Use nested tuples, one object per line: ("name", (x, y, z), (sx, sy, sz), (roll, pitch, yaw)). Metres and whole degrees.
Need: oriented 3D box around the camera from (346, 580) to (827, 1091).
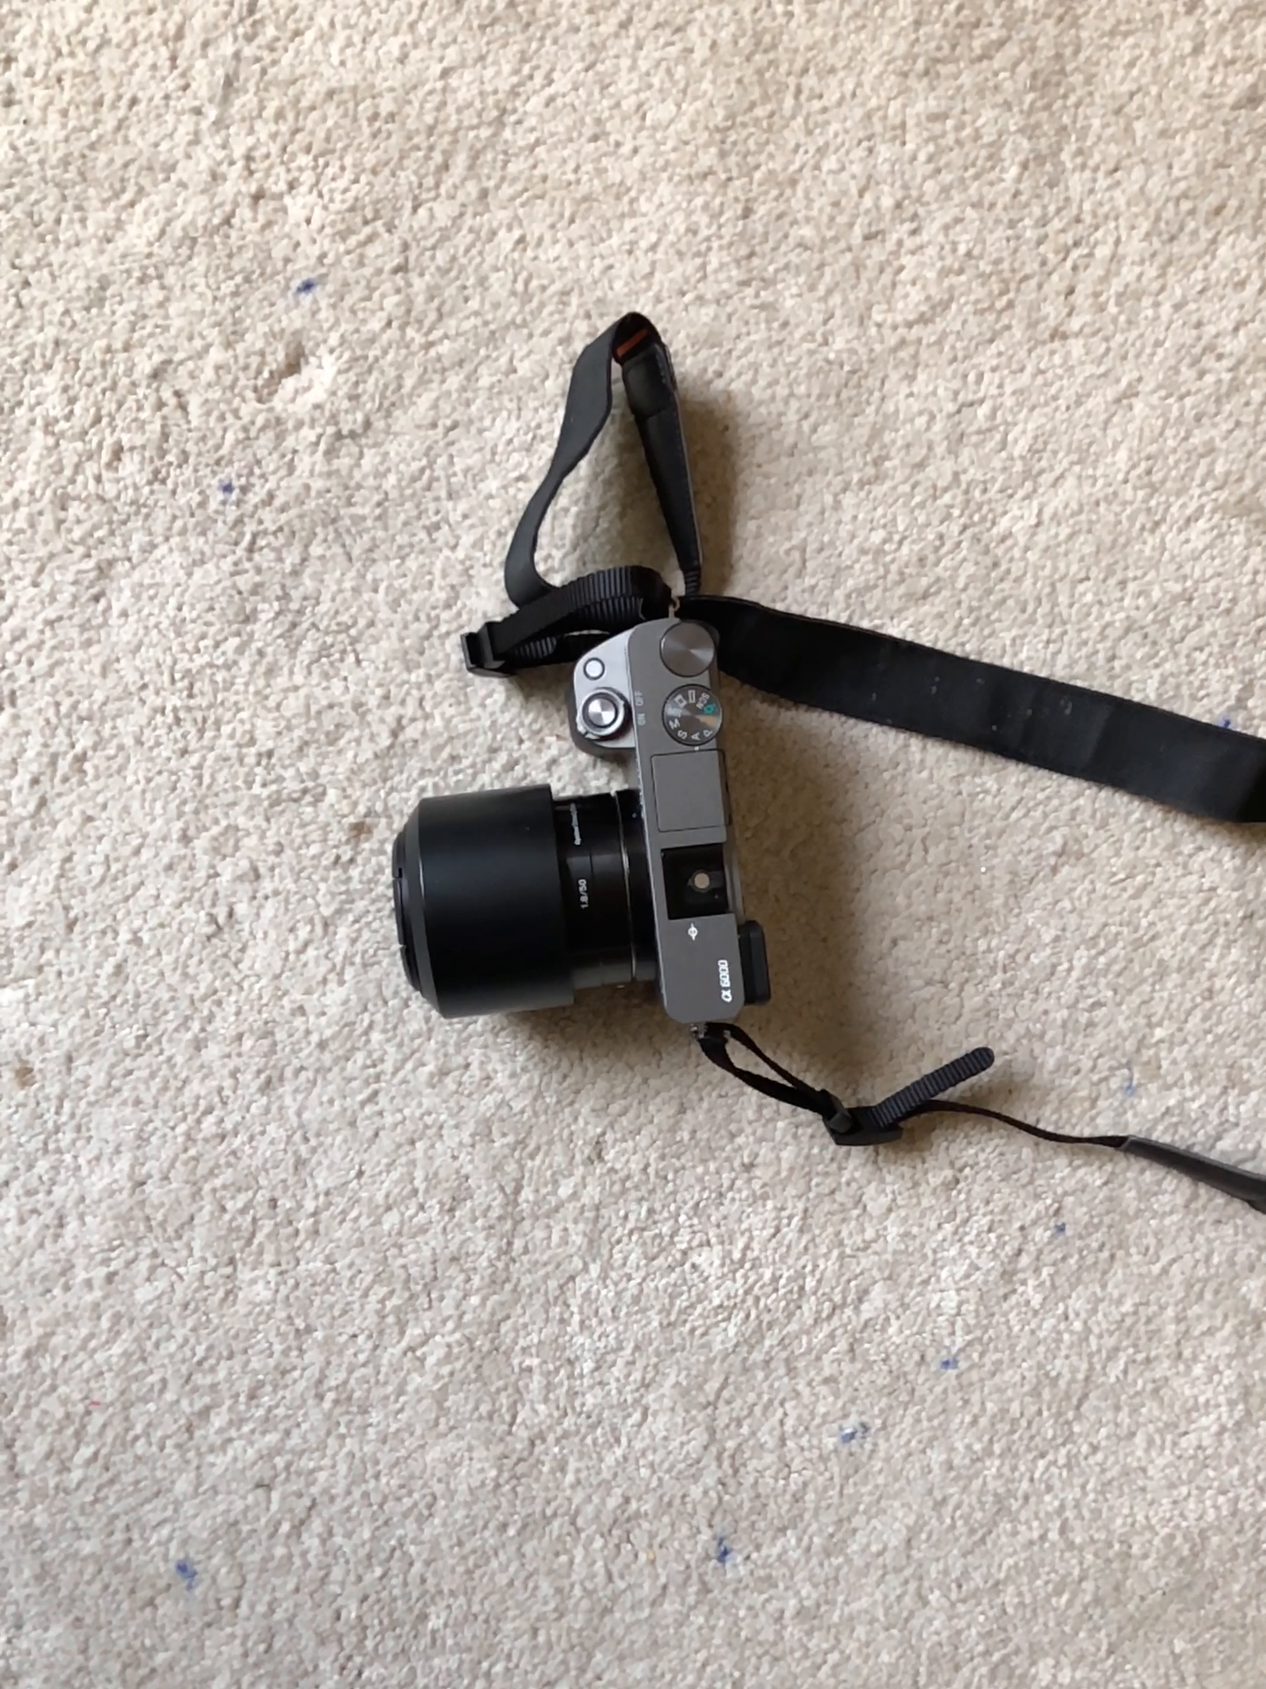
("camera", (-0.016, -0.002, 0.430), (0.120, 0.080, 0.130), (-7, 88, -5))
